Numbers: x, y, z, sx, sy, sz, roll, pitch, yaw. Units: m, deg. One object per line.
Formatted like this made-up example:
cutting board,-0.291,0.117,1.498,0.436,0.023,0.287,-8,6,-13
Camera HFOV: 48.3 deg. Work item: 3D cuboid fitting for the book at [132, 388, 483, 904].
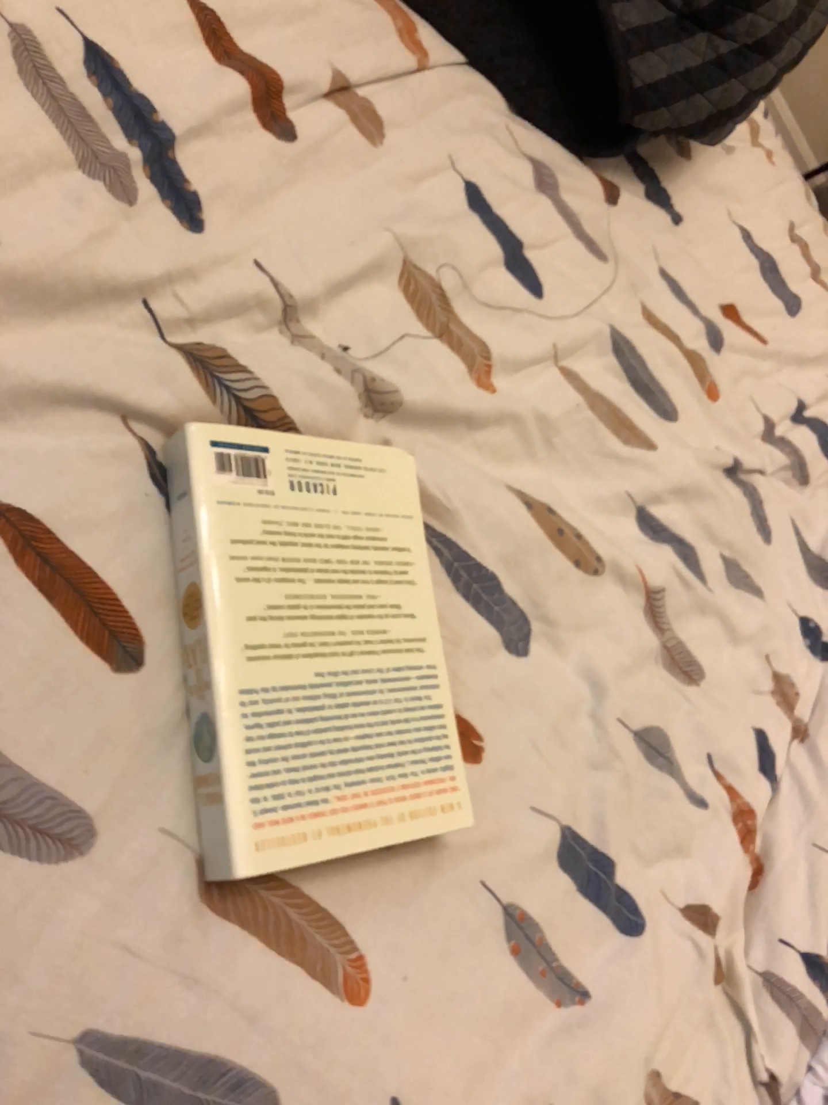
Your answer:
book,-0.049,0.039,0.457,0.151,0.040,0.220,1,76,-45
